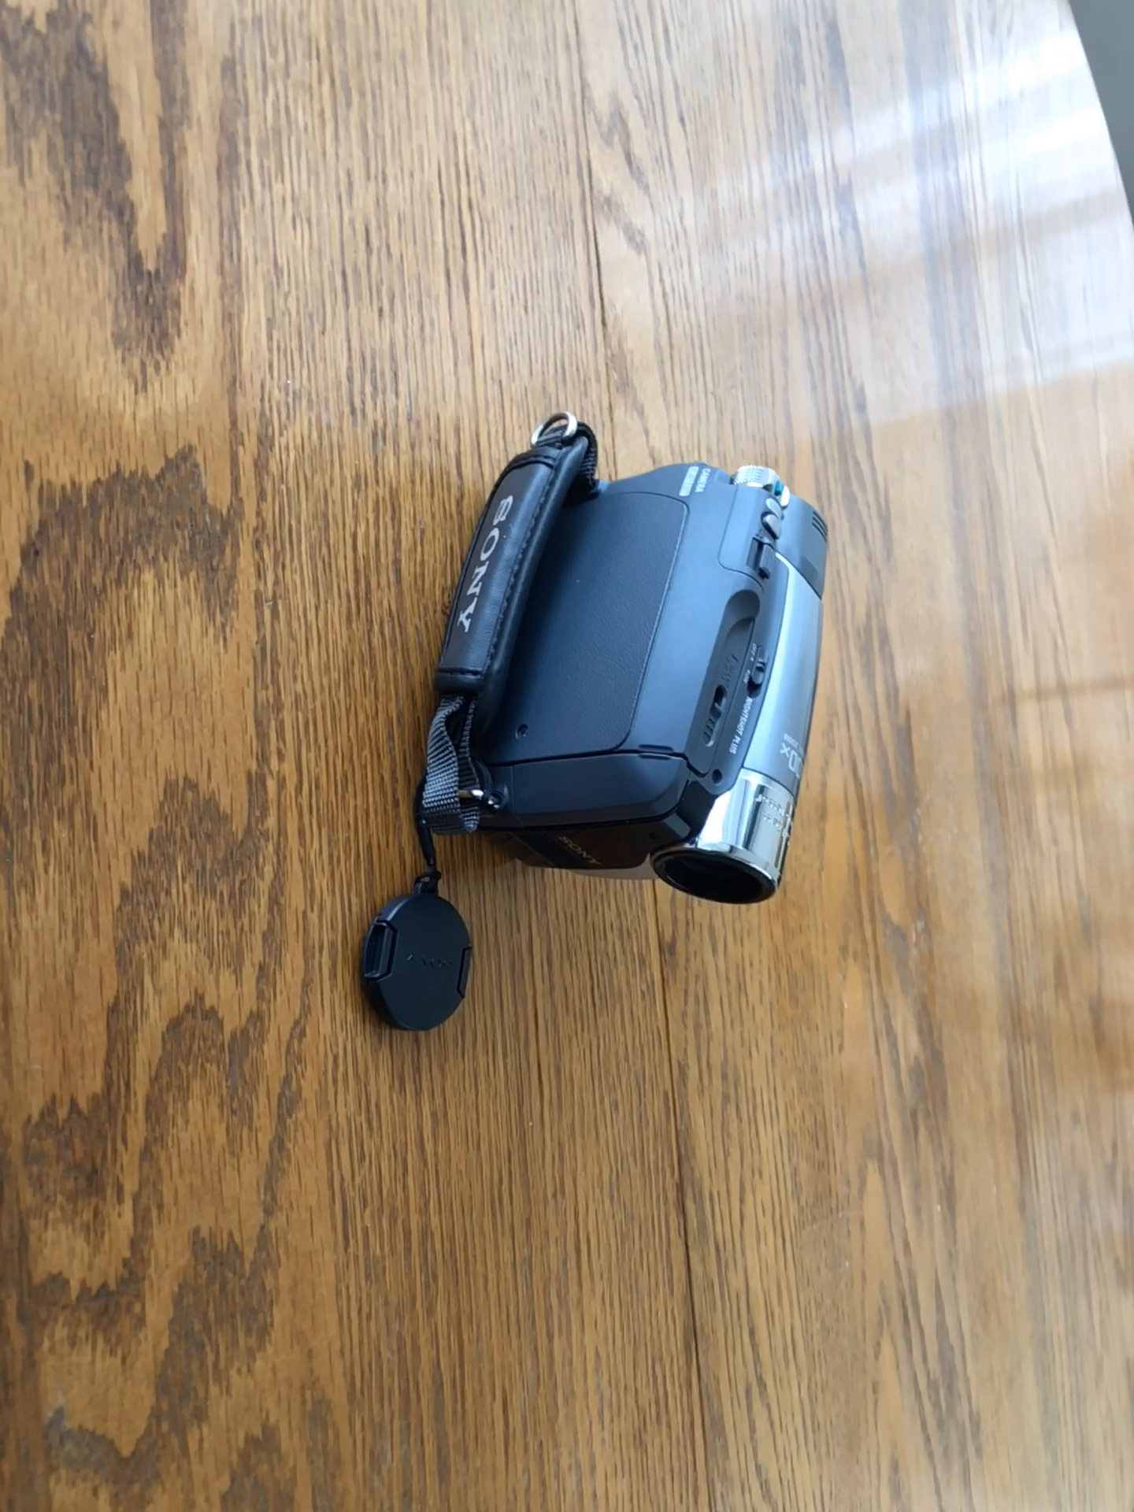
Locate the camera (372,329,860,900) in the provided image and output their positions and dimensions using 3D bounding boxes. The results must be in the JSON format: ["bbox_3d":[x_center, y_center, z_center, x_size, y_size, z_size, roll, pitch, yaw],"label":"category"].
[{"bbox_3d":[0.018,-0.031,0.324,0.080,0.072,0.112,39,55,-42],"label":"camera"}]
